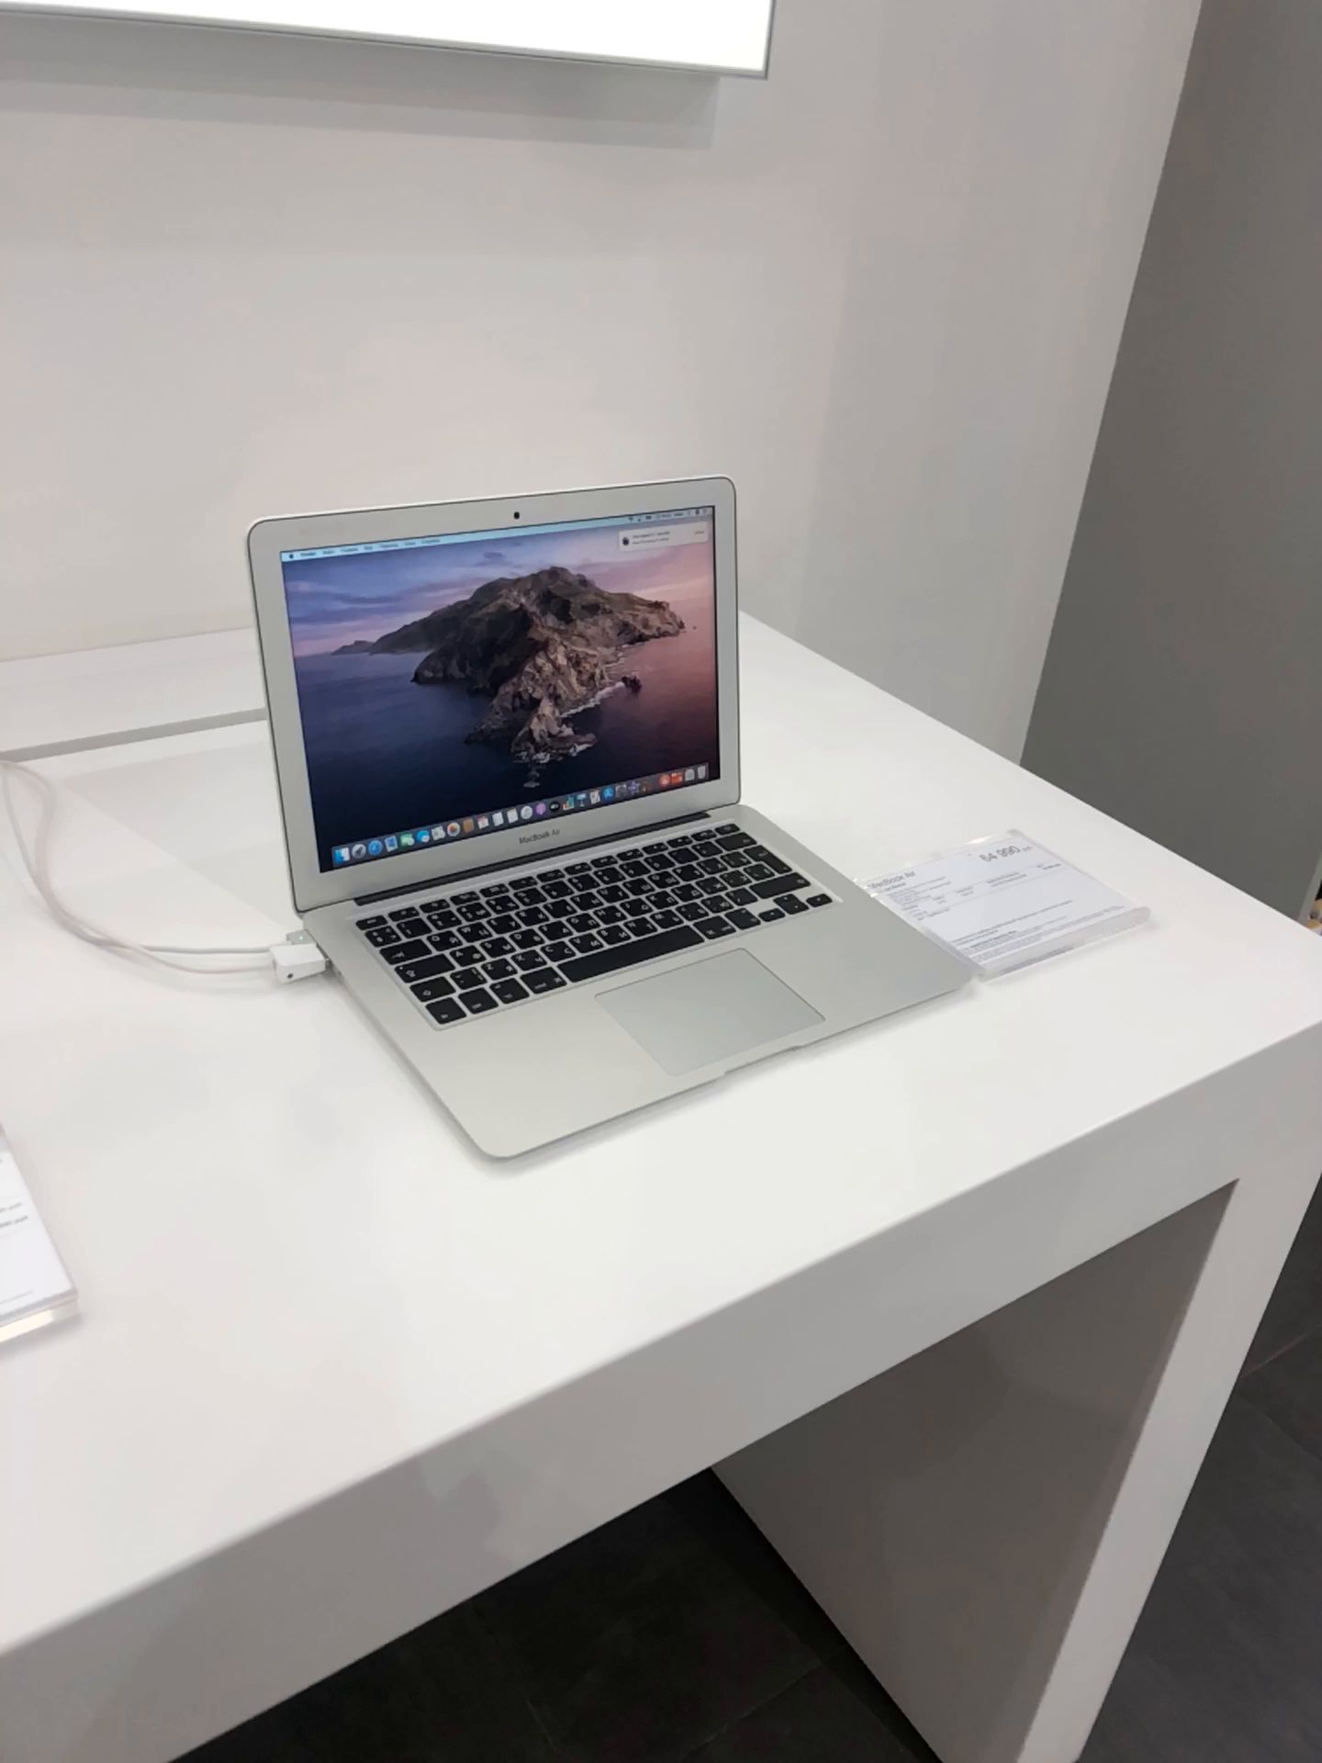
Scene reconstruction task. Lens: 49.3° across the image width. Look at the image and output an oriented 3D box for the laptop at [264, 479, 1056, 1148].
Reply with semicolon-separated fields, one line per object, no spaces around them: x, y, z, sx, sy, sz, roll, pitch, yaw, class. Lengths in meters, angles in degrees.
-0.012;-0.067;0.795;0.315;0.207;0.271;-16;37;-32;laptop
